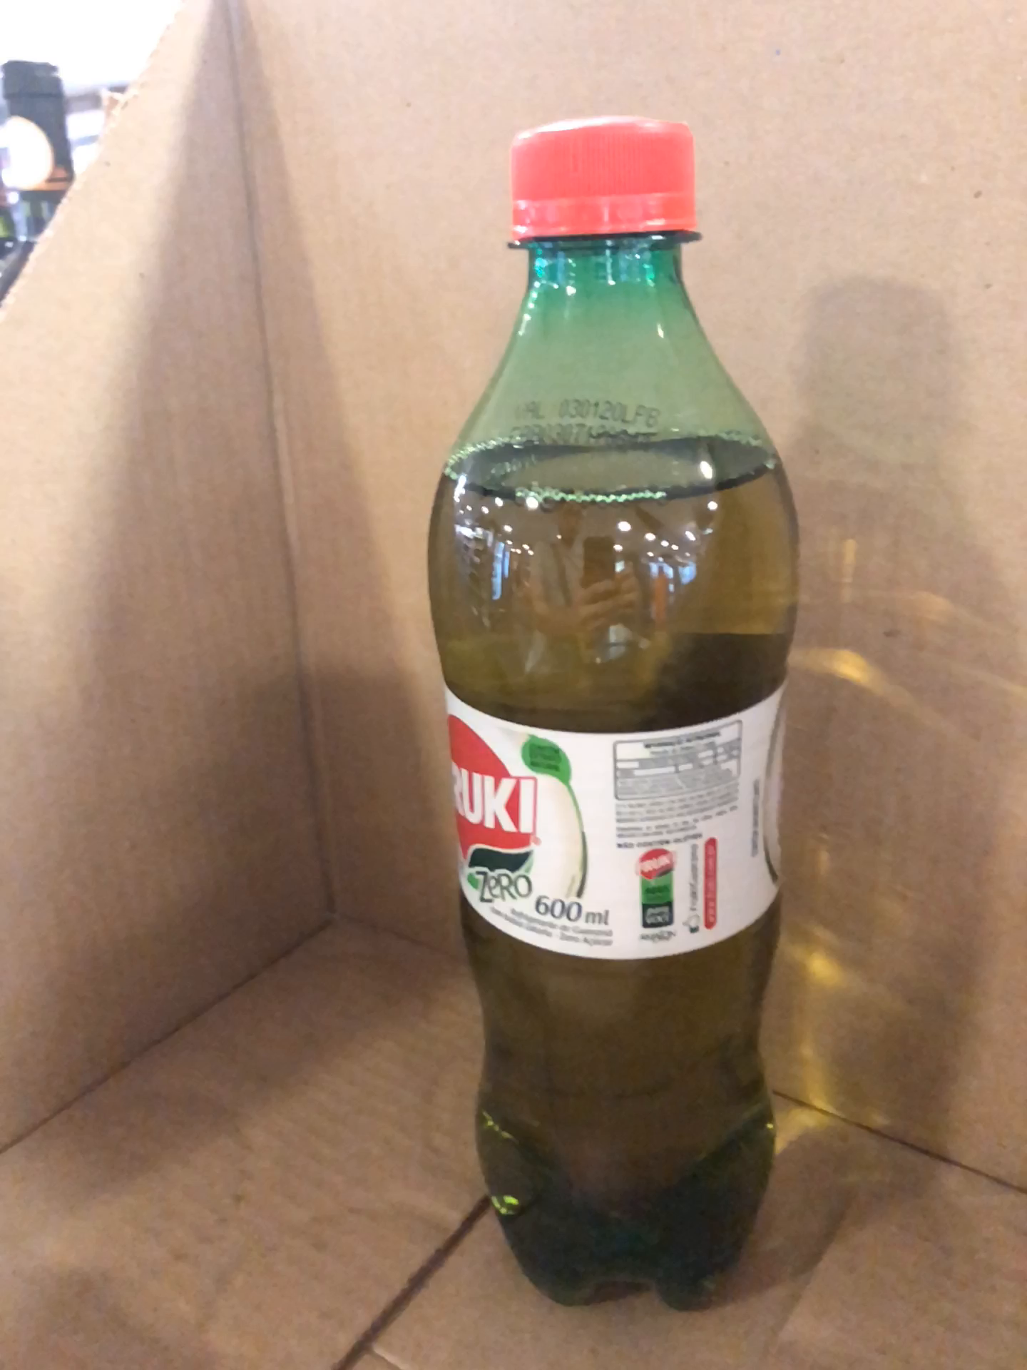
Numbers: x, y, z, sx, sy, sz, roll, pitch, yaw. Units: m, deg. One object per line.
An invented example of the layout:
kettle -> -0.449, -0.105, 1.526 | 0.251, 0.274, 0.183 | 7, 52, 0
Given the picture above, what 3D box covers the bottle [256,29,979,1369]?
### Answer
bottle -> 0.020, 0.016, 0.223 | 0.080, 0.238, 0.080 | -3, 21, 1
